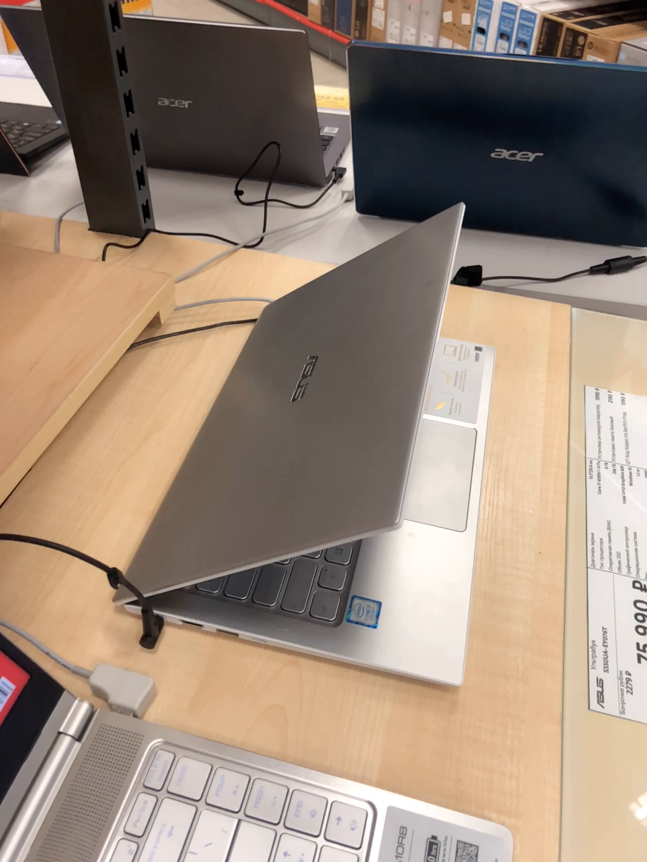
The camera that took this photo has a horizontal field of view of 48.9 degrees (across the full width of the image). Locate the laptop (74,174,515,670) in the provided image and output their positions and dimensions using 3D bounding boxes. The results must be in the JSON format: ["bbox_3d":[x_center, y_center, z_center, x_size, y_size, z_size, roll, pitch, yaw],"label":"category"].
[{"bbox_3d":[0.011,-0.035,0.474,0.196,0.119,0.310,10,44,8],"label":"laptop"}]
